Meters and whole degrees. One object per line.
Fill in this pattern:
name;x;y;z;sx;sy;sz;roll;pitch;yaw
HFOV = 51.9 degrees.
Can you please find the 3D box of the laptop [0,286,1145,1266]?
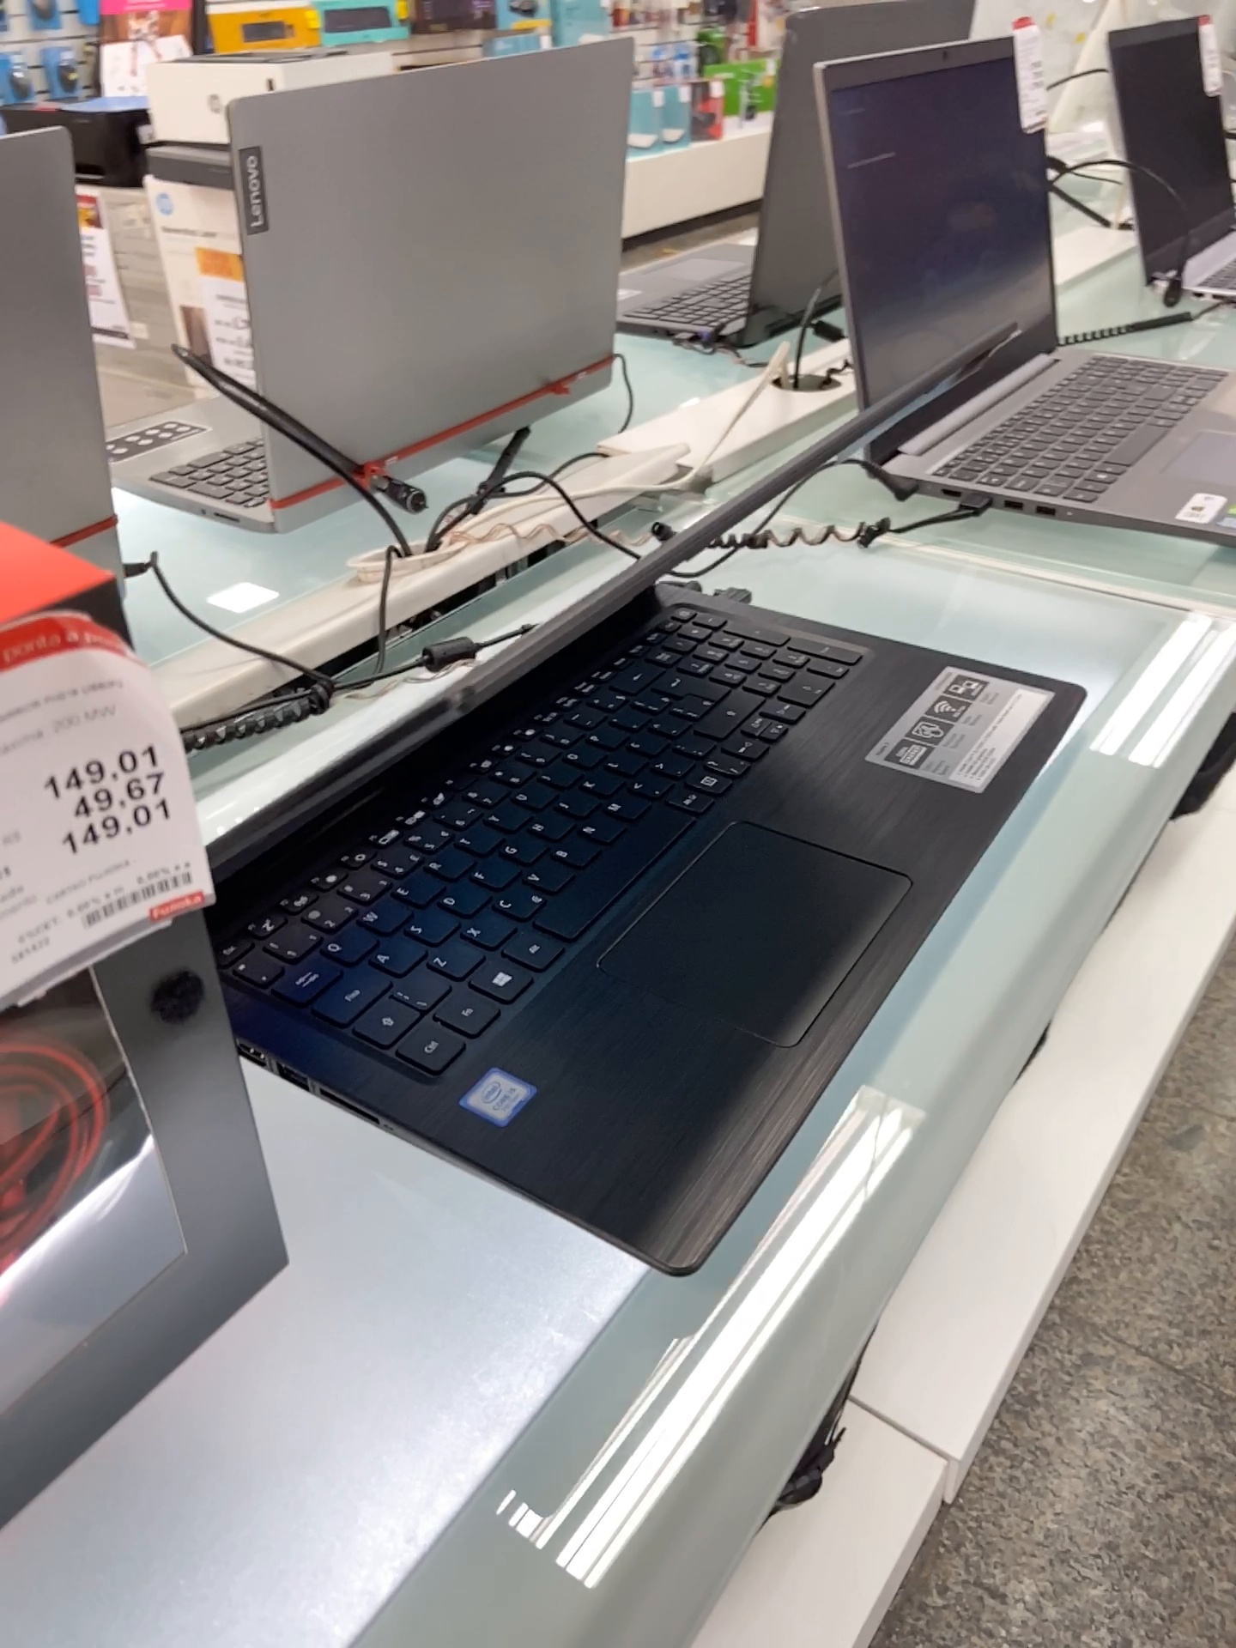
laptop;0.015;-0.071;0.484;0.239;0.157;0.372;19;40;27
